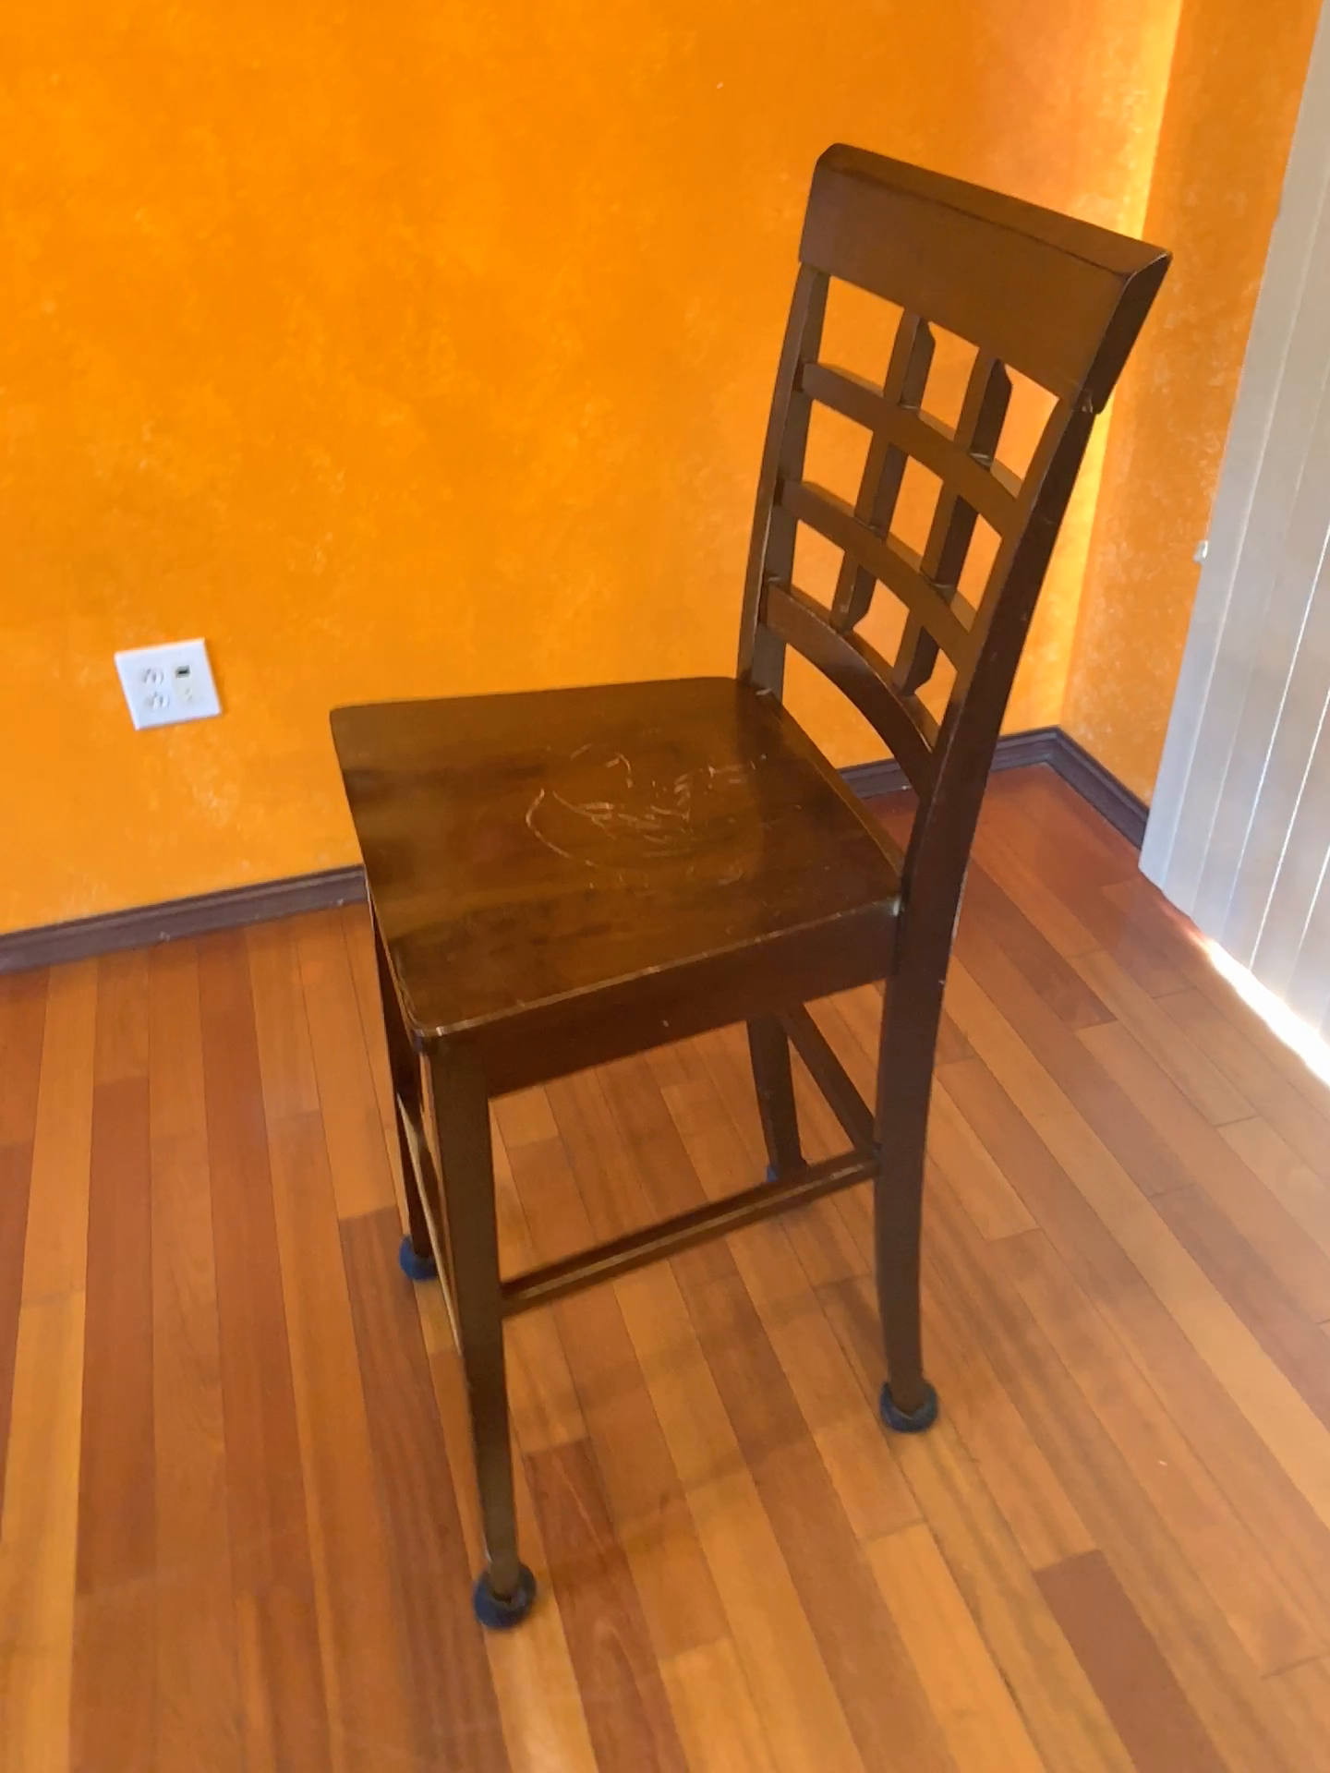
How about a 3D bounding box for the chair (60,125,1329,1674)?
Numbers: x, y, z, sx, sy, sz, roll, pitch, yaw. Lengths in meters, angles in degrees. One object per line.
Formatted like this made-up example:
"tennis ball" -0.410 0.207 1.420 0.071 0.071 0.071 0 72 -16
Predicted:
"chair" -0.023 0.011 1.073 0.587 0.986 0.539 -11 36 -14
